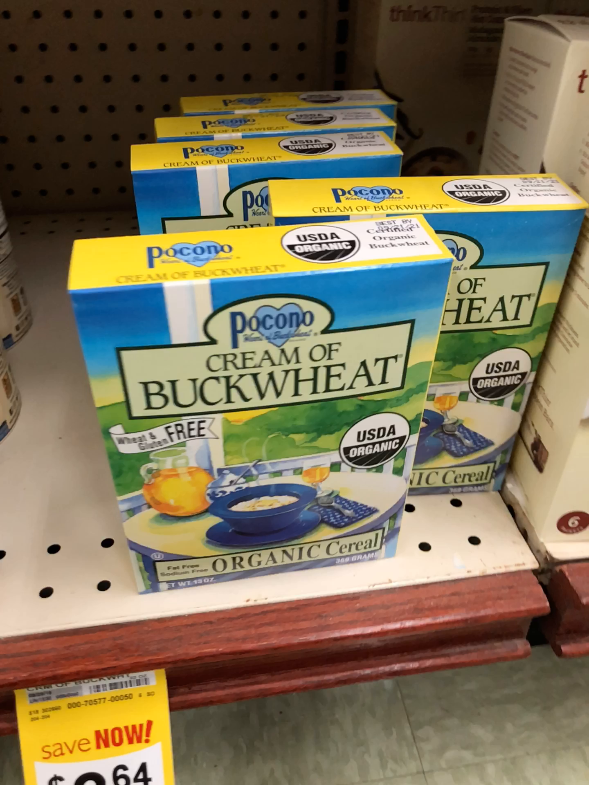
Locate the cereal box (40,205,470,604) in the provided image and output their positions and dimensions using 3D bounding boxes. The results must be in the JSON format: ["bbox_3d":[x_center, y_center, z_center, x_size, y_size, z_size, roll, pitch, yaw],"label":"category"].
[{"bbox_3d":[-0.013,0.010,0.257,0.130,0.150,0.040,-6,37,-9],"label":"cereal box"}]
